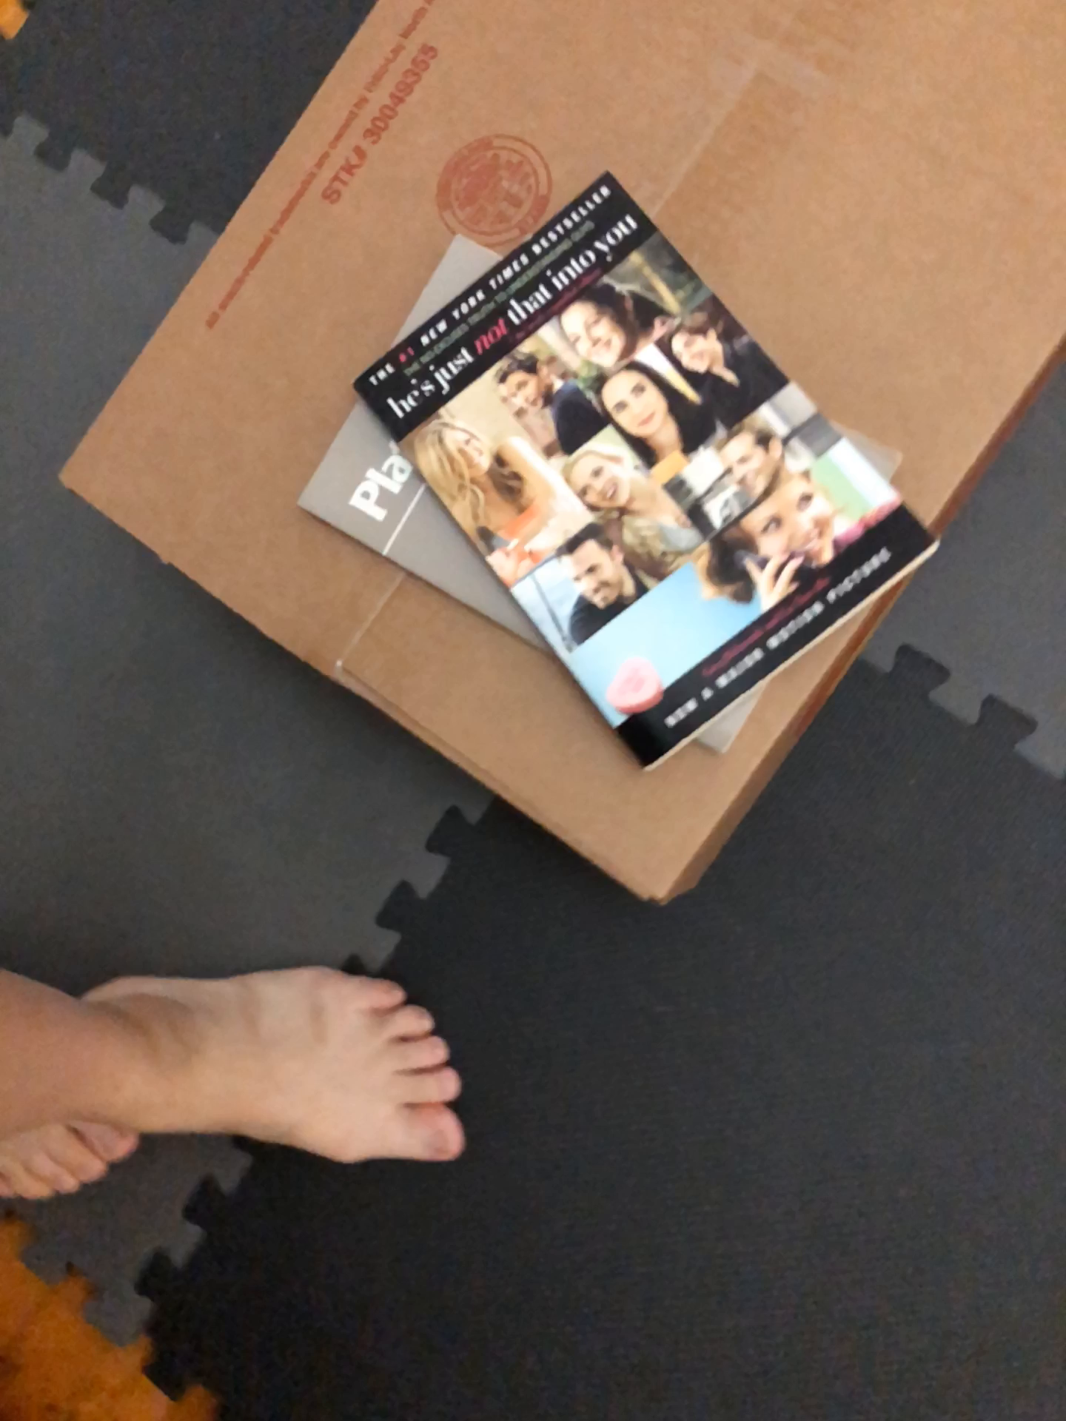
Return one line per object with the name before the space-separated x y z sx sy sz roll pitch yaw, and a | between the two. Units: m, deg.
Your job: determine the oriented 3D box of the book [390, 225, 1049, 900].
book | 0.067 -0.063 0.476 0.150 0.010 0.230 -38 79 6
